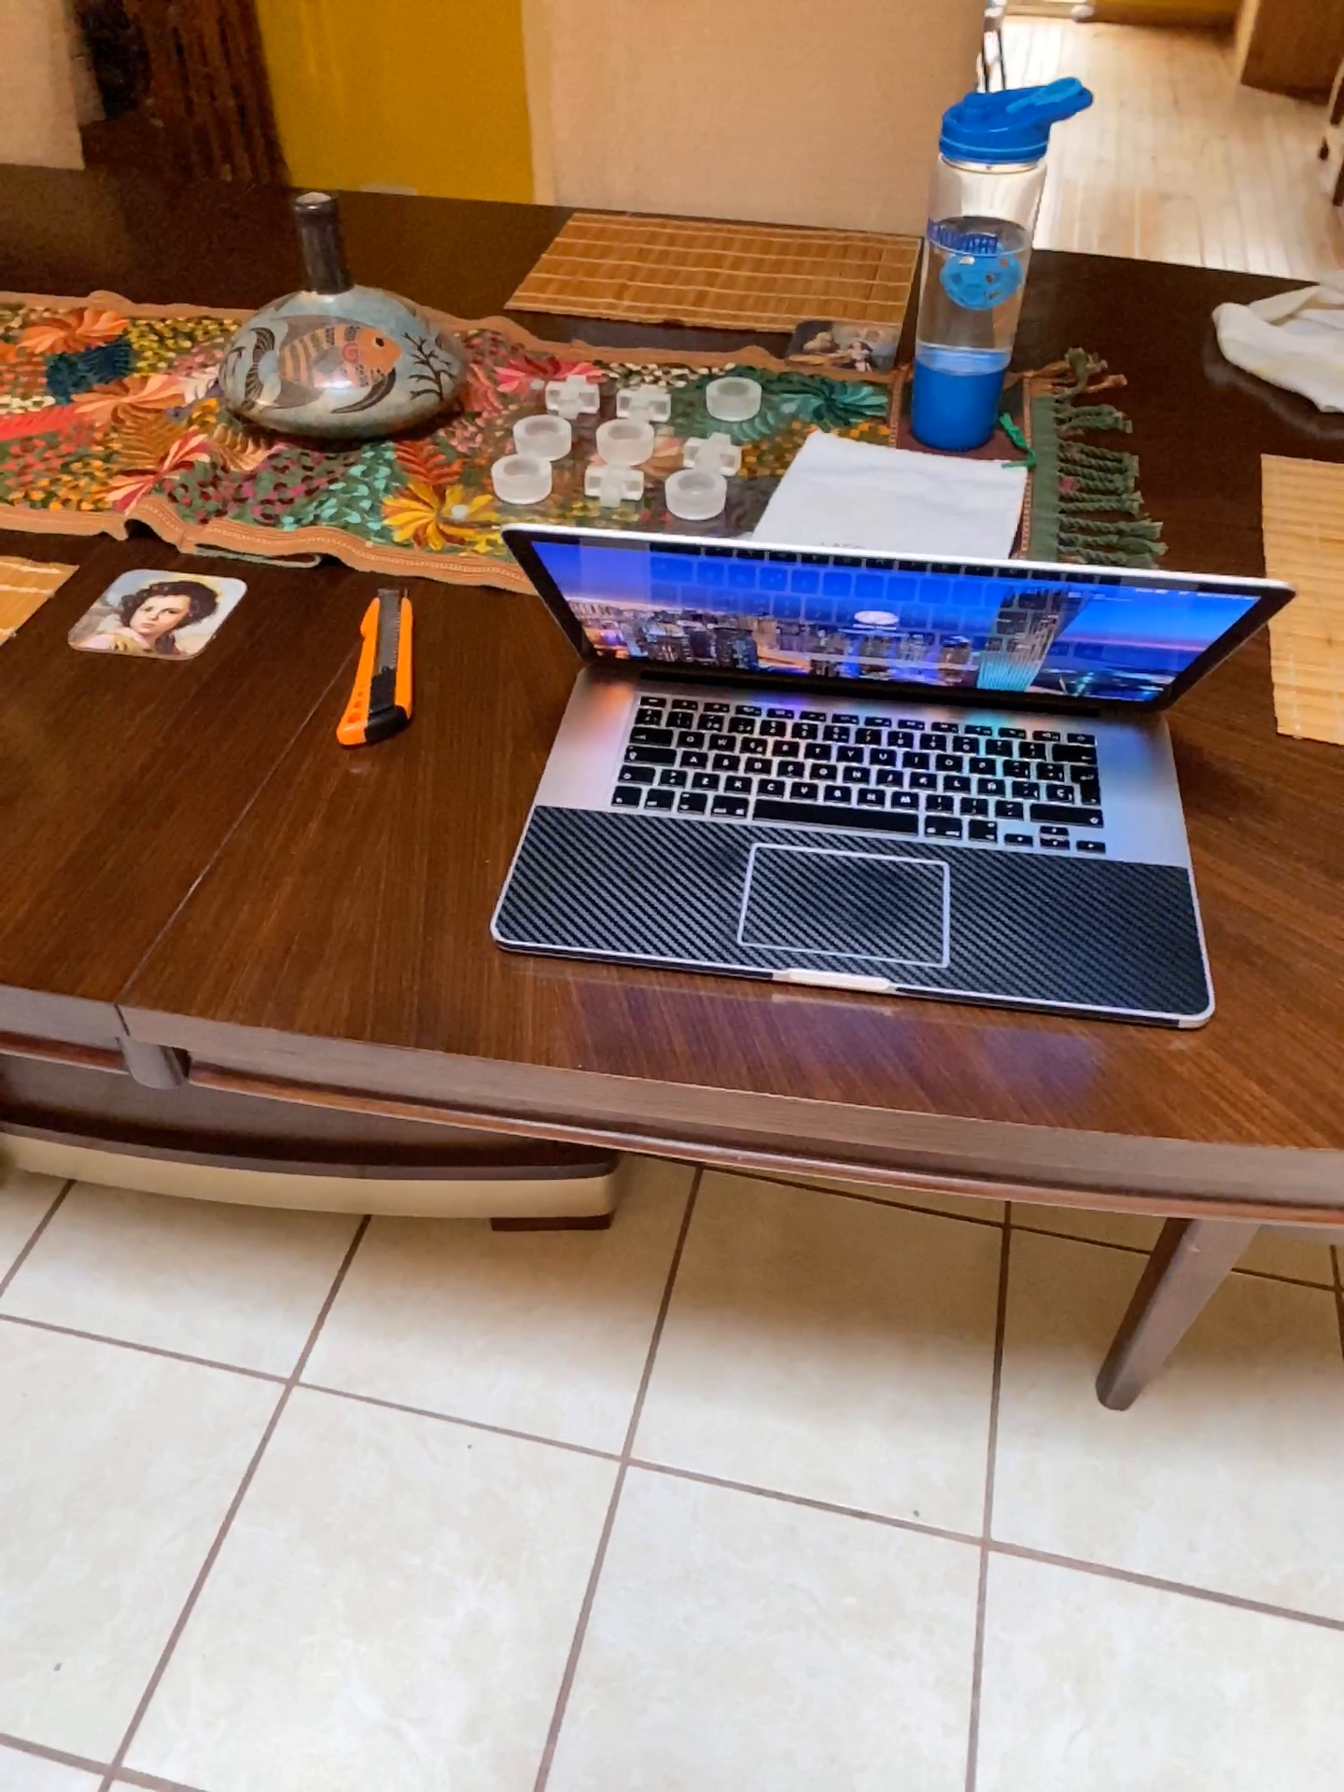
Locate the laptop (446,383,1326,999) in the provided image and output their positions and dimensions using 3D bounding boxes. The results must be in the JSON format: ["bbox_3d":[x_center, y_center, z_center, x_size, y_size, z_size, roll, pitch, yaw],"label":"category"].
[{"bbox_3d":[0.099,-0.114,0.702,0.354,0.181,0.237,6,44,6],"label":"laptop"}]
